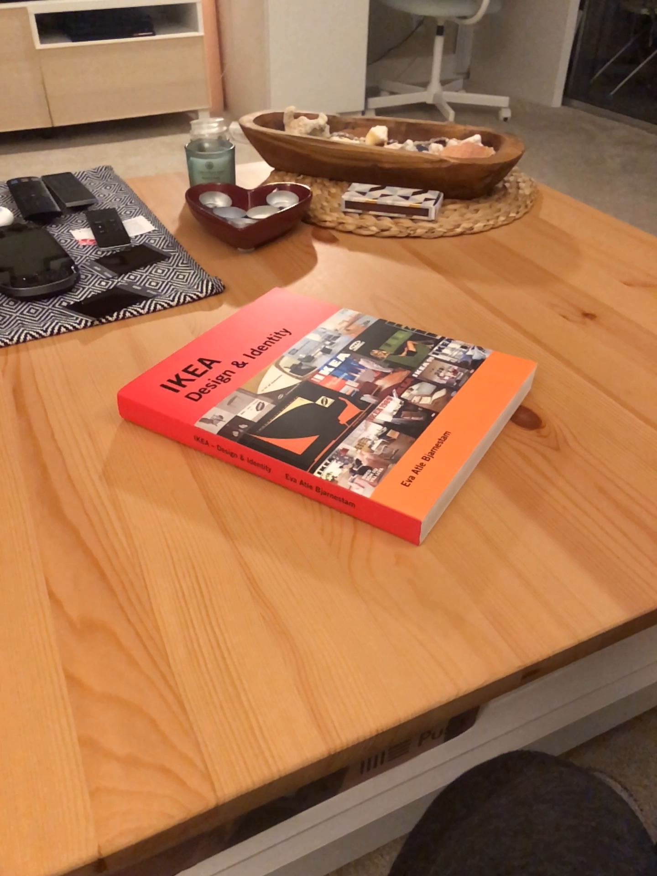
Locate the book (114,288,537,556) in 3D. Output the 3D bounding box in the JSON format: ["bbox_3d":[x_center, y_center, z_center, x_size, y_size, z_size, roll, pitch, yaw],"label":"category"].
[{"bbox_3d":[0.004,-0.034,0.571,0.254,0.030,0.217,21,41,24],"label":"book"}]
